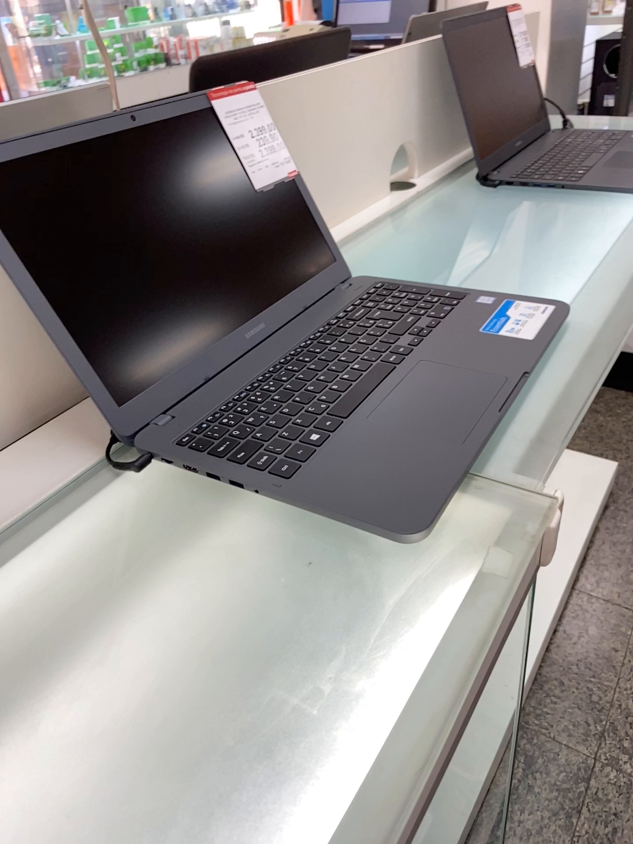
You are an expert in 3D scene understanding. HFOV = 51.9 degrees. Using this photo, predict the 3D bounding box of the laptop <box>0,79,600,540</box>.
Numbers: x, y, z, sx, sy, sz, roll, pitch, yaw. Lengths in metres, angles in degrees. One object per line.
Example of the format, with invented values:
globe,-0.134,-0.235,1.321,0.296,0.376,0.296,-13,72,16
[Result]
laptop,-0.007,-0.141,0.539,0.351,0.197,0.362,14,38,29
